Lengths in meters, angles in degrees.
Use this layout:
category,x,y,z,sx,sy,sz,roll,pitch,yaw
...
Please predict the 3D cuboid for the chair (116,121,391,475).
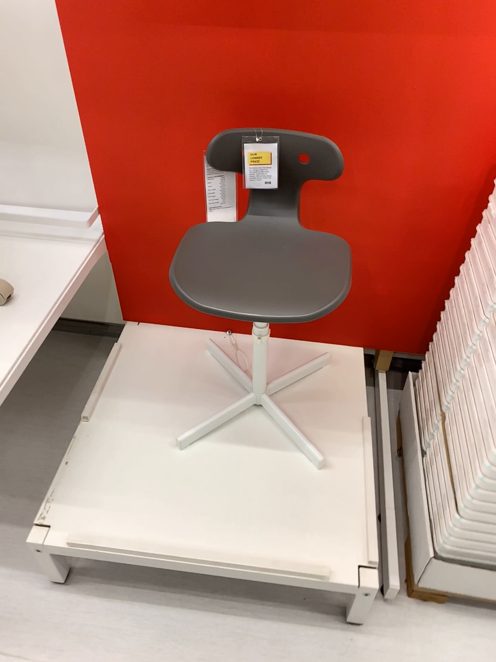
category,x,y,z,sx,sy,sz,roll,pitch,yaw
chair,0.031,-0.066,1.234,0.460,0.697,0.452,6,42,6
